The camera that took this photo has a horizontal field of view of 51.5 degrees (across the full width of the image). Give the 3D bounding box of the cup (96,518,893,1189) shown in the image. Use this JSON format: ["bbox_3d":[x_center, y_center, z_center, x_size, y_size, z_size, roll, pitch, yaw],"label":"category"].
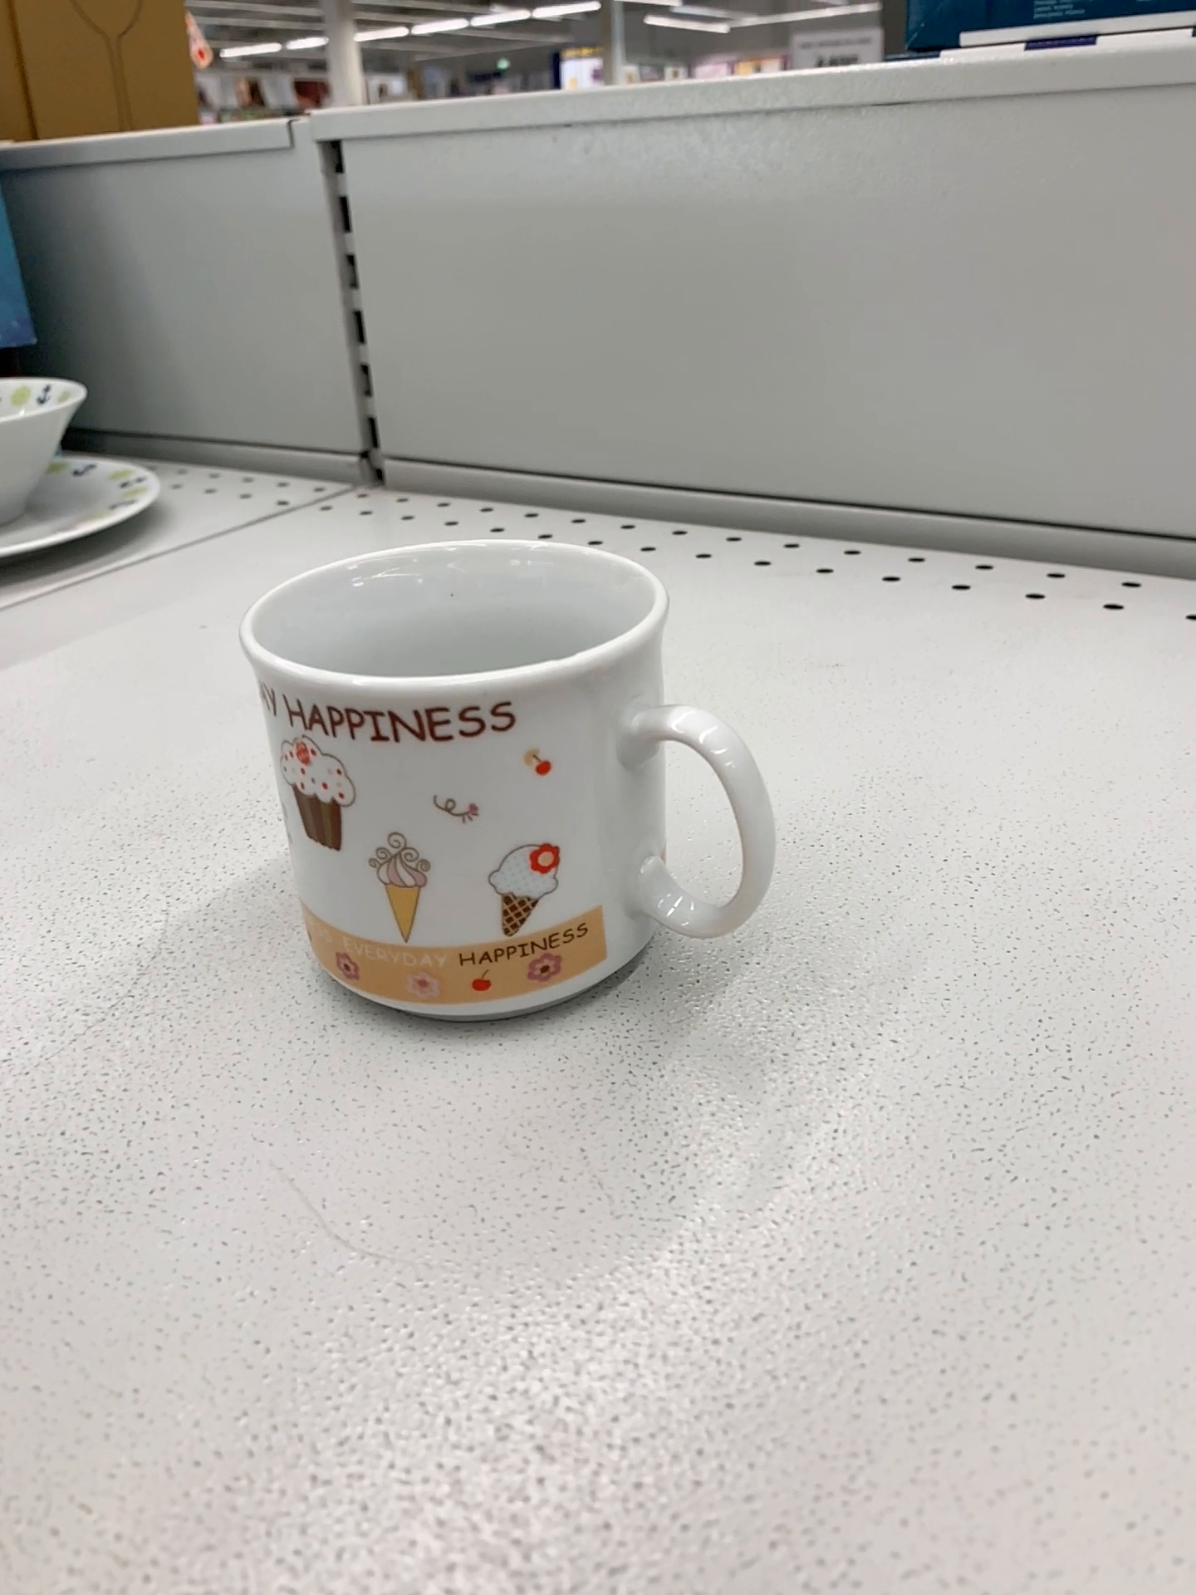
[{"bbox_3d":[-0.015,-0.001,0.224,0.109,0.069,0.079,14,32,31],"label":"cup"}]
